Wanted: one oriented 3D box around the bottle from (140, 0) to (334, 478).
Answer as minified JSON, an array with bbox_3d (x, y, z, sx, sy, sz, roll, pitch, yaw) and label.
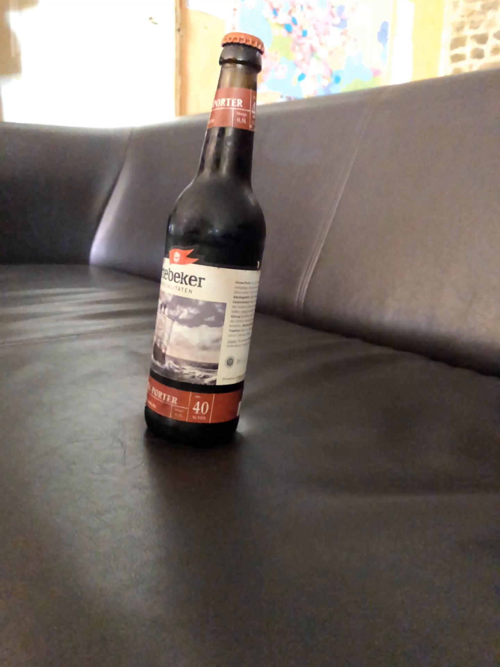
[{"bbox_3d":[-0.017,-0.053,0.374,0.080,0.279,0.080,6,11,-1],"label":"bottle"}]
